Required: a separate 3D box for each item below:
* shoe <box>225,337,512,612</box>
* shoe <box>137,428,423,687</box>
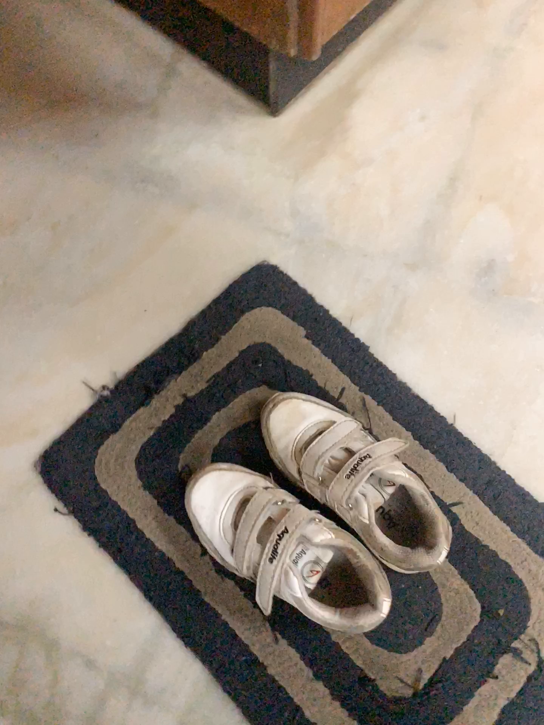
[{"bbox_3d":[0.066,0.086,0.444,0.200,0.090,0.080,41,78,12],"label":"shoe"},{"bbox_3d":[0.004,0.145,0.439,0.190,0.090,0.080,33,76,10],"label":"shoe"}]
